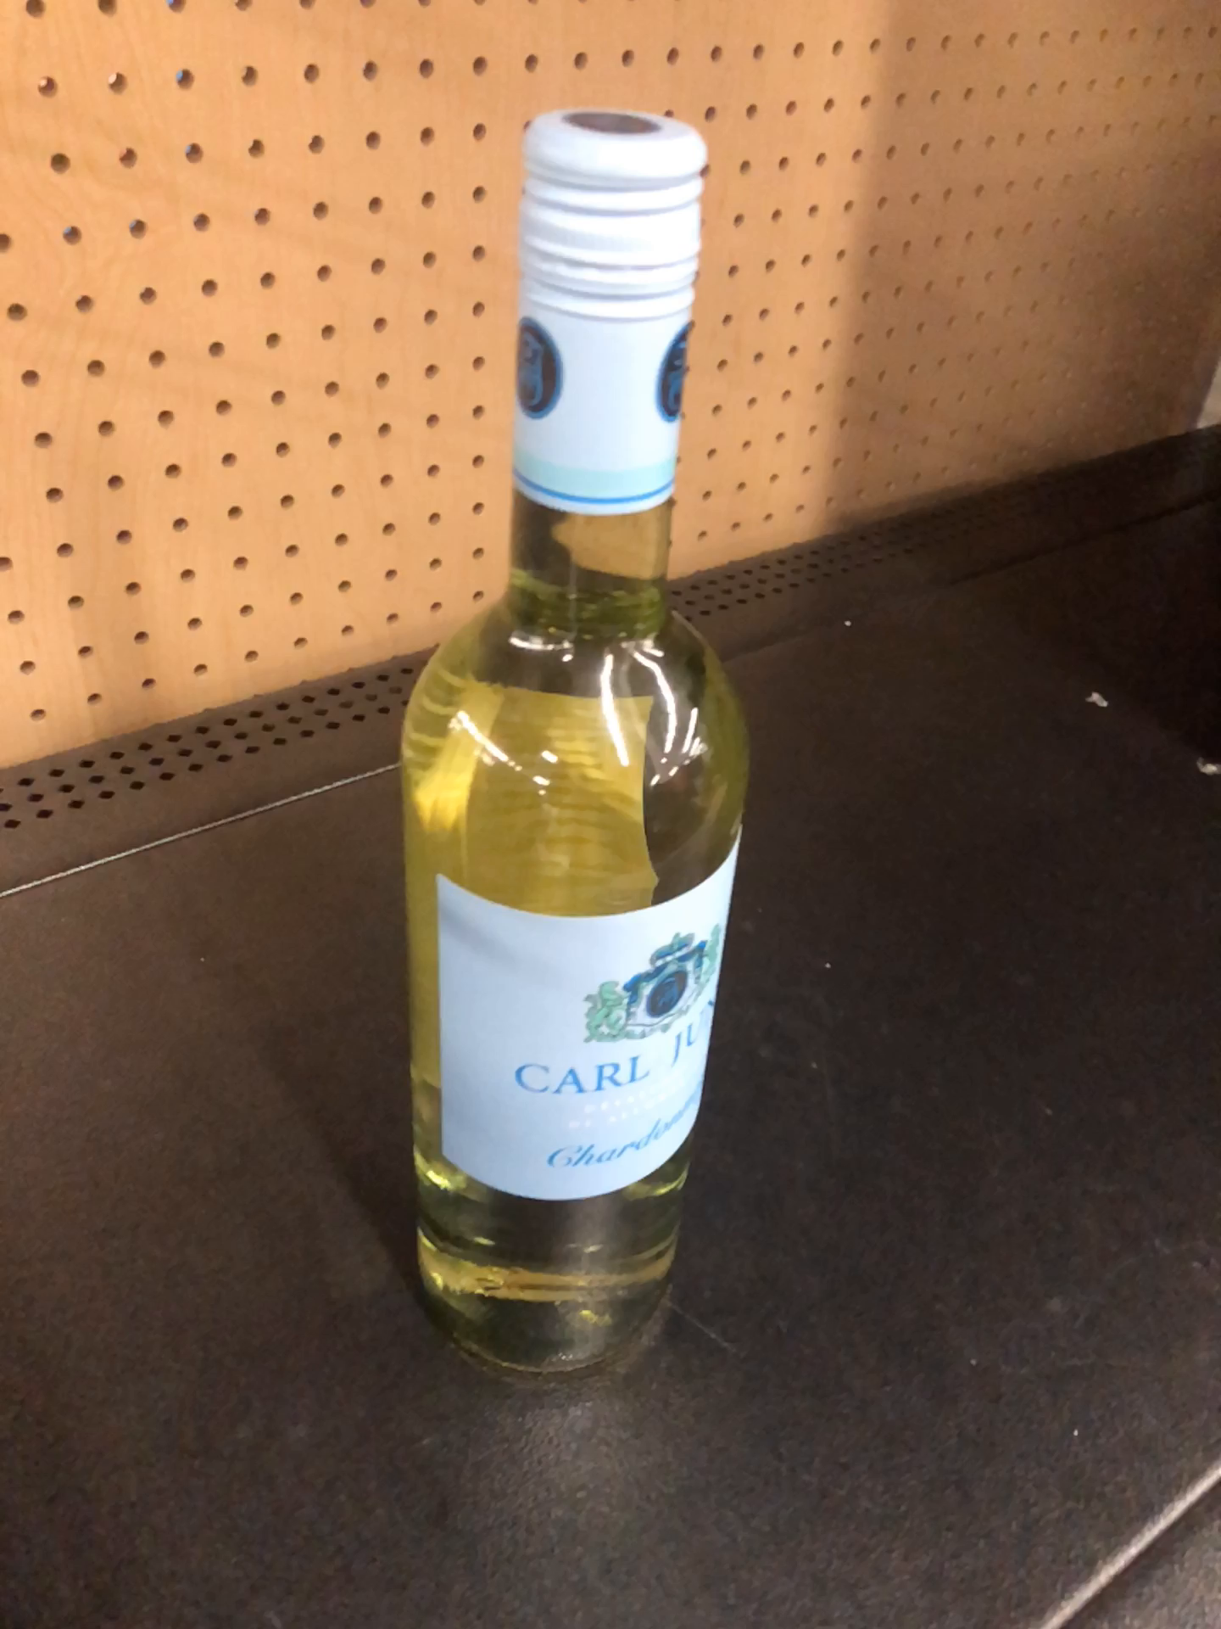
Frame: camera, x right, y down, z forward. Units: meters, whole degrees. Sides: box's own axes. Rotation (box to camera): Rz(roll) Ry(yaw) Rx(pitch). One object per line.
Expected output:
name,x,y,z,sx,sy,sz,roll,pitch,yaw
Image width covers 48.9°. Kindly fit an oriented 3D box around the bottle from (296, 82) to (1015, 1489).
bottle,-0.005,0.021,0.308,0.080,0.318,0.080,3,38,-3
